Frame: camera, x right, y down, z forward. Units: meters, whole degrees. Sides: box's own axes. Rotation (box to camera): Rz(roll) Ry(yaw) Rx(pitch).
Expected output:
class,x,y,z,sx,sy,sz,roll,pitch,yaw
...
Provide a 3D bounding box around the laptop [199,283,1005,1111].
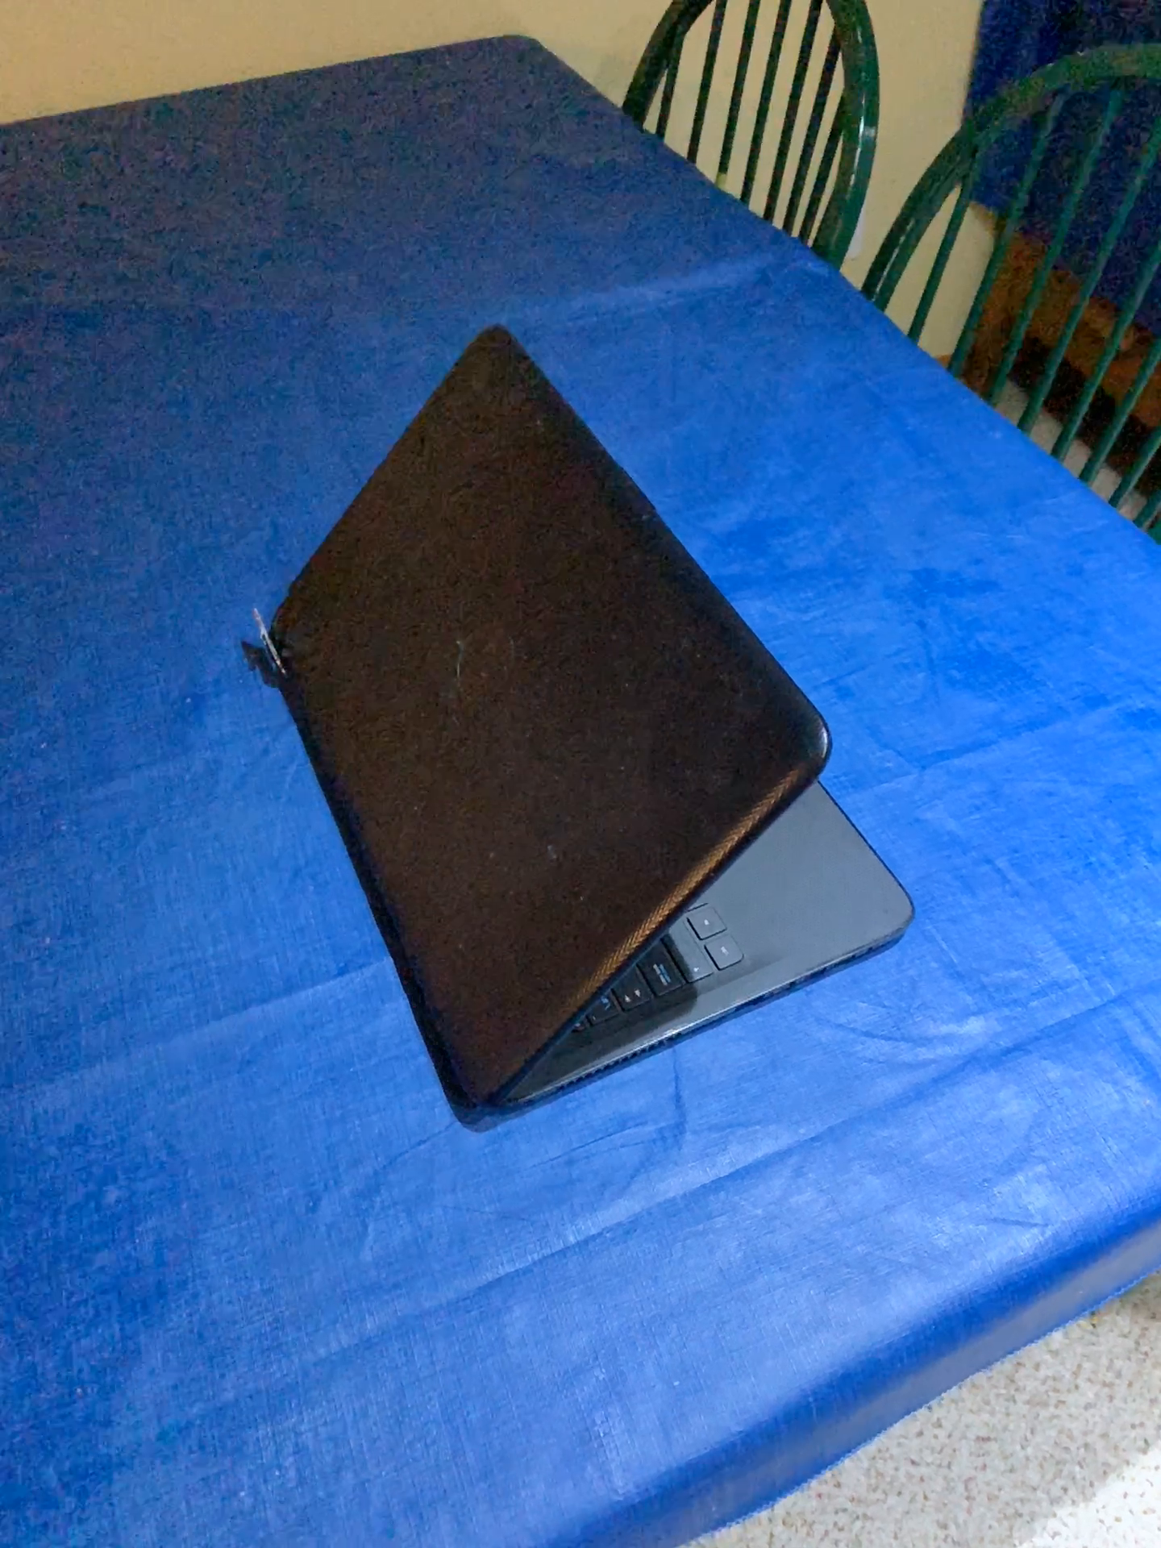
class,x,y,z,sx,sy,sz,roll,pitch,yaw
laptop,-0.014,-0.070,0.628,0.252,0.167,0.372,-20,52,-16
